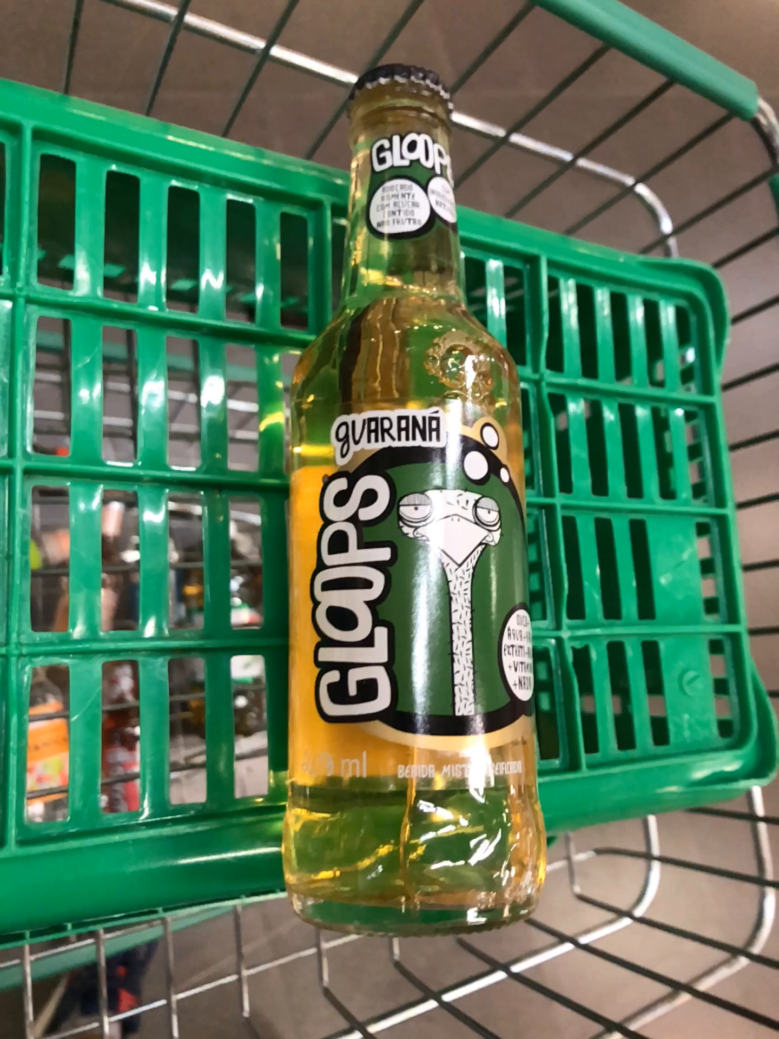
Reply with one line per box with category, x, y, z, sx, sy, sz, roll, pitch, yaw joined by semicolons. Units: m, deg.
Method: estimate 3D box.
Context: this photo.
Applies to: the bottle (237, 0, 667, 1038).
bottle;0.011;-0.014;0.206;0.070;0.060;0.220;6;78;-30
